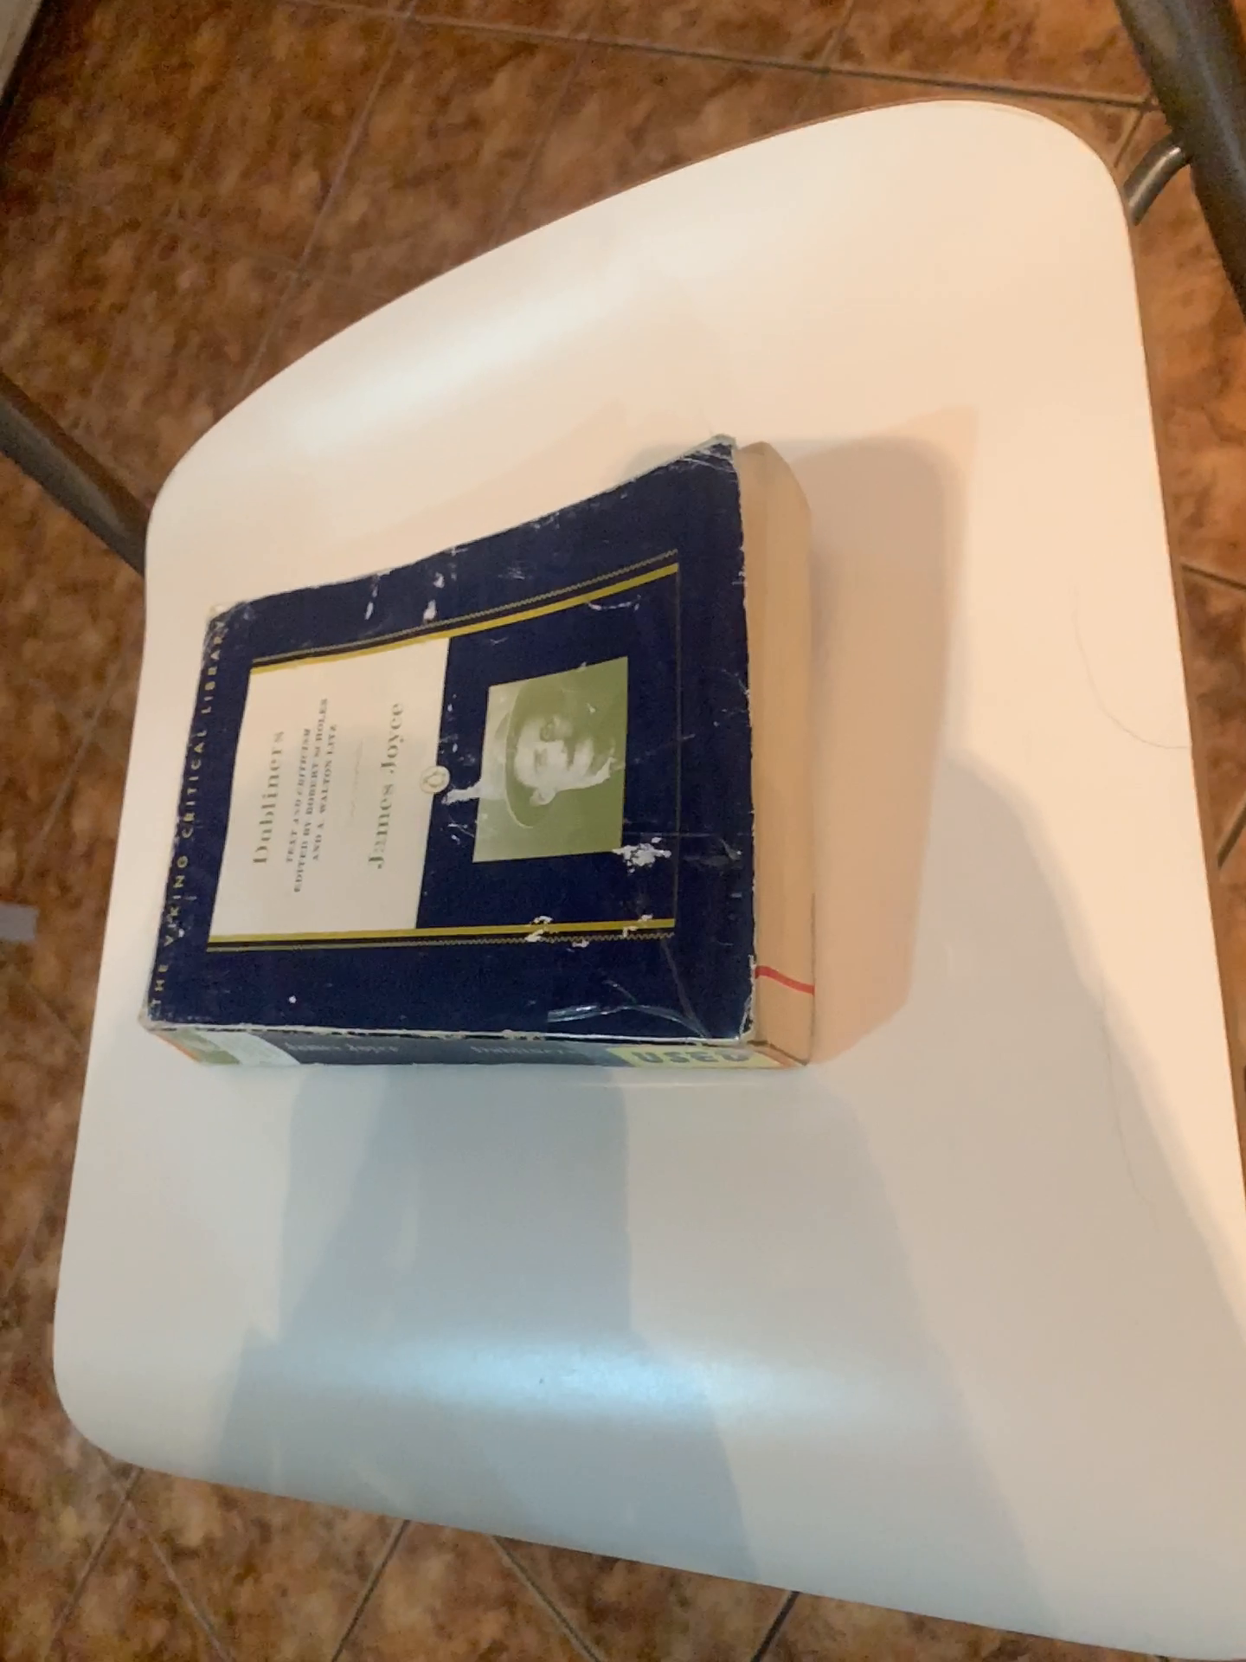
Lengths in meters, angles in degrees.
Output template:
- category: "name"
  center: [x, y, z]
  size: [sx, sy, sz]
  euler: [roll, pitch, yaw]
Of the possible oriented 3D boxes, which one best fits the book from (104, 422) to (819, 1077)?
- category: "book"
  center: [-0.049, -0.007, 0.321]
  size: [0.198, 0.035, 0.132]
  euler: [-7, 76, 34]
